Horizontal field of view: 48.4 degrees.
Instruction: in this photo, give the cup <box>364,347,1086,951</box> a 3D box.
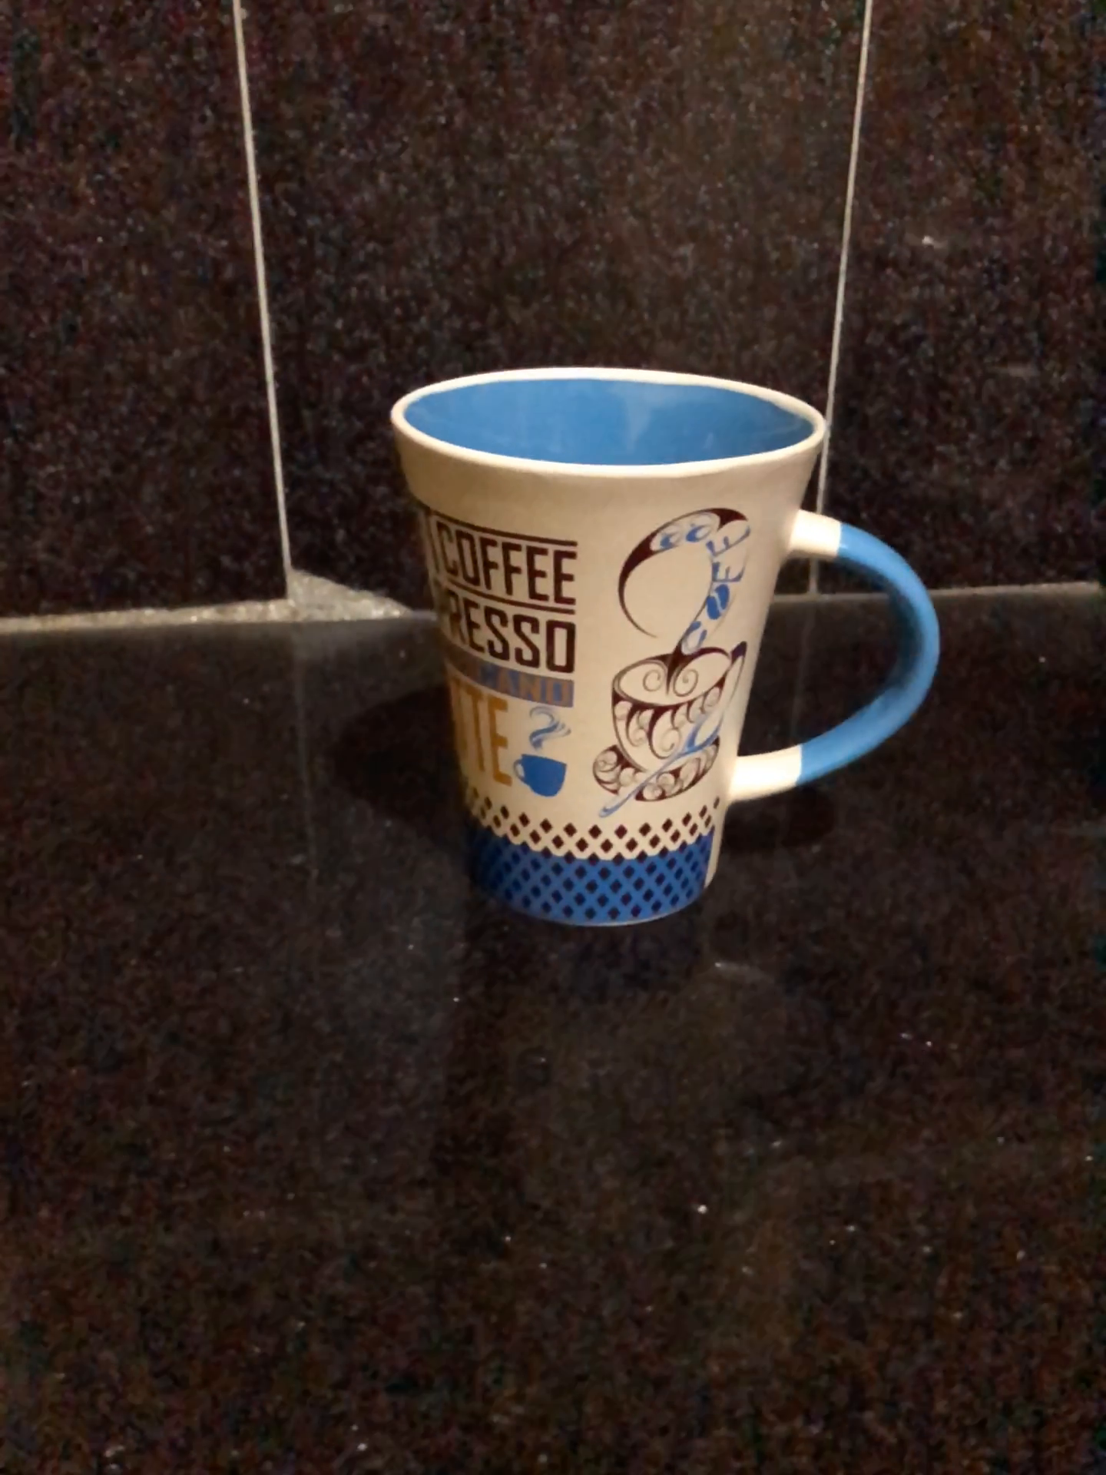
[{"bbox_3d":[0.032,-0.025,0.286,0.130,0.109,0.091,2,27,2],"label":"cup"}]
